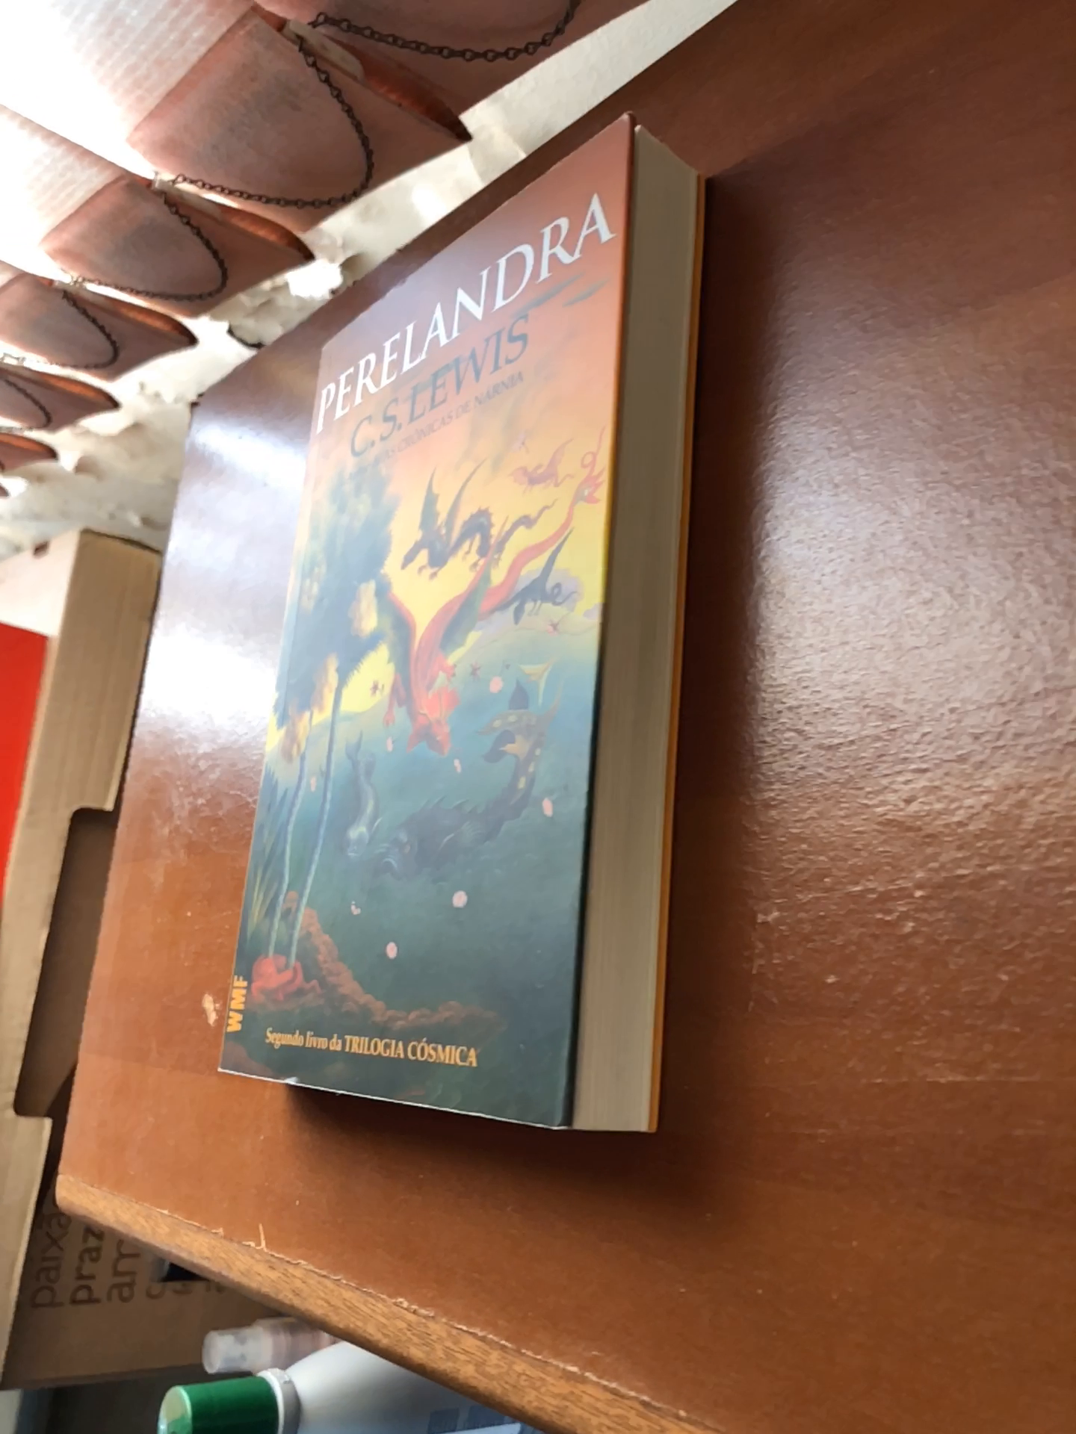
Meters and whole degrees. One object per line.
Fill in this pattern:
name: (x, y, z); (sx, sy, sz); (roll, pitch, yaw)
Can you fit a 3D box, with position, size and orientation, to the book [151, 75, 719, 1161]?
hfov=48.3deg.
book: (-0.025, -0.015, 0.255); (0.130, 0.030, 0.190); (-14, 65, 49)
